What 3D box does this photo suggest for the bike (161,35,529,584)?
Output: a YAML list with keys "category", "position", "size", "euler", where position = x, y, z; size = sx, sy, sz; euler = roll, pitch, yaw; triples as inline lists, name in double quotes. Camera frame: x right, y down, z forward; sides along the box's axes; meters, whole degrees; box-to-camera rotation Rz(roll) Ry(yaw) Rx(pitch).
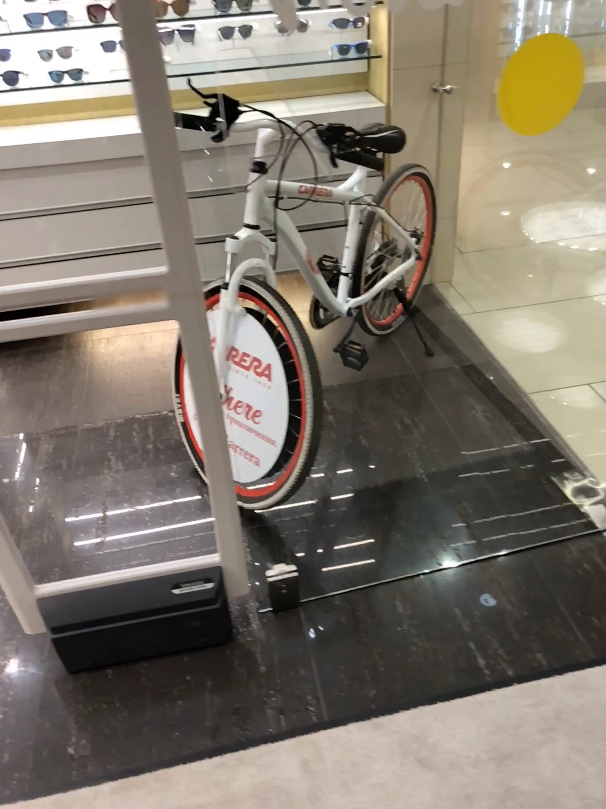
- category: "bike"
  position: [0.249, -0.421, 2.008]
  size: [0.592, 0.947, 1.388]
  euler: [9, 39, 20]
